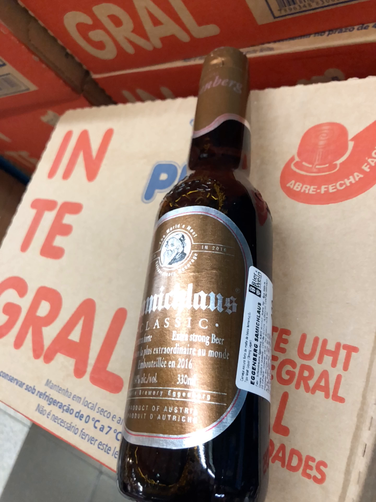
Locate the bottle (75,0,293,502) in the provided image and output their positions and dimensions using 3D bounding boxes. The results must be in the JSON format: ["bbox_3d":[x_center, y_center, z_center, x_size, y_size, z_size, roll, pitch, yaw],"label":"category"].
[{"bbox_3d":[0.010,-0.022,0.202,0.060,0.050,0.251,-10,61,29],"label":"bottle"}]
